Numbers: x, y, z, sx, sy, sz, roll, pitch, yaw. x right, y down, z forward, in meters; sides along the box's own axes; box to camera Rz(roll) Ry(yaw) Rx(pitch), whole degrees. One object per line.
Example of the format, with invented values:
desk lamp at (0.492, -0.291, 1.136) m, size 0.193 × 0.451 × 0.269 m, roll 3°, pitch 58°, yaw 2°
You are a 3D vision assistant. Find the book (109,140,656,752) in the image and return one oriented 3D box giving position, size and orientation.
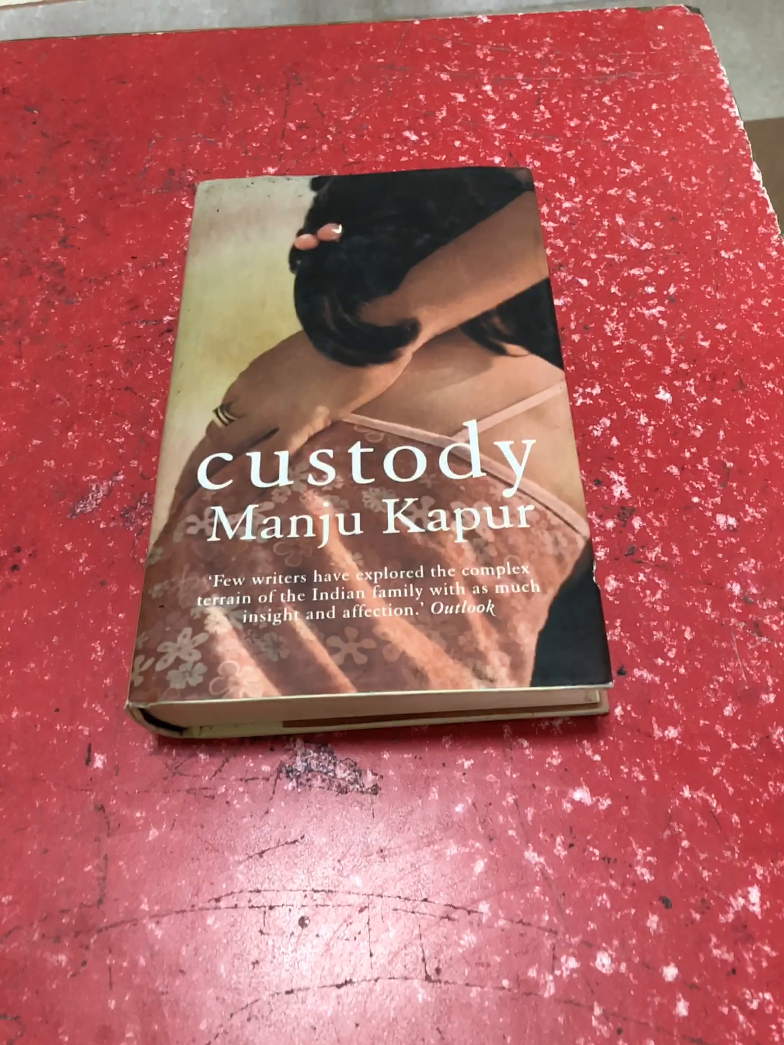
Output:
book at (-0.006, -0.040, 0.298) m, size 0.140 × 0.040 × 0.220 m, roll -3°, pitch 58°, yaw 1°
